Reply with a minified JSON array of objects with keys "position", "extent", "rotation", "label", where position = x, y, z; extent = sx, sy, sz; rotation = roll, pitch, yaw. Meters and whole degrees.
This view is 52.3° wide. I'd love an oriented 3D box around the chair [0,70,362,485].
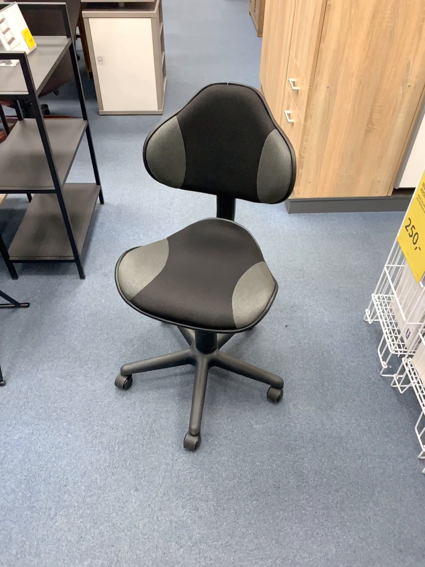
[{"position":[-0.004,-0.008,1.301],"extent":[0.630,0.916,0.693],"rotation":[12,45,11],"label":"chair"}]
